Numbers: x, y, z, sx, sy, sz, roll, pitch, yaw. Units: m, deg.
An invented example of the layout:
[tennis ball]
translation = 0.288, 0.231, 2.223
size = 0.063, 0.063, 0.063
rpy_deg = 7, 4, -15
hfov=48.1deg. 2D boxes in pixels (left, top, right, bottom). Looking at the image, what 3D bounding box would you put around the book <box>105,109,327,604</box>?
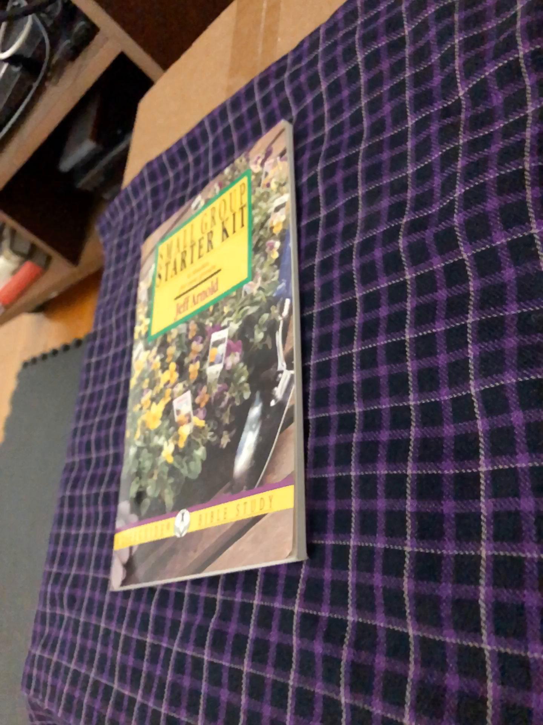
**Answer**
[book]
translation = -0.034, 0.000, 0.309
size = 0.150, 0.010, 0.220
rpy_deg = -27, 54, 43
